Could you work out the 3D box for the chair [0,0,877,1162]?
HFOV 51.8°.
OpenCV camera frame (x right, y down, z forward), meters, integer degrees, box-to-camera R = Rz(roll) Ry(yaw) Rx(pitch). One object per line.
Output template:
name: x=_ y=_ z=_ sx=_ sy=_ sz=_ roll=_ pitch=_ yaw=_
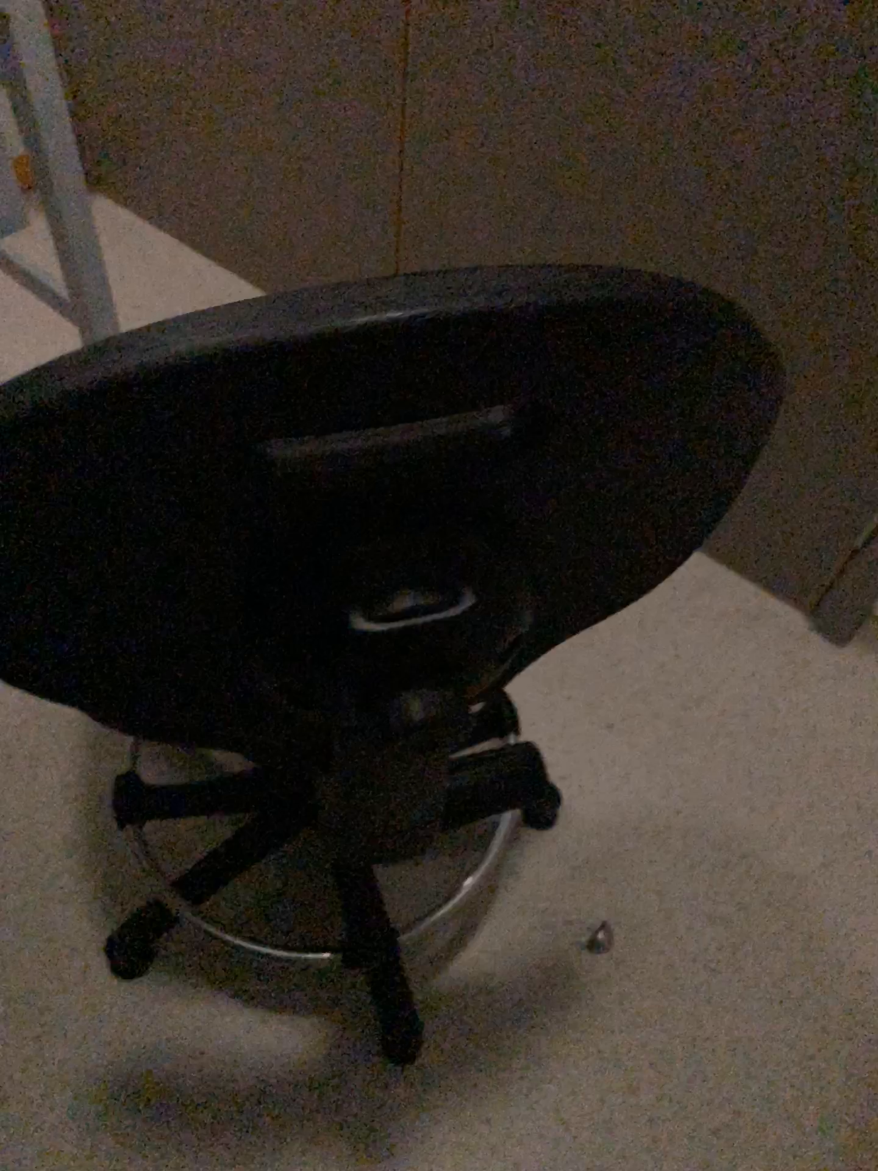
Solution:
chair: x=-0.082 y=-0.045 z=0.756 sx=0.620 sy=0.932 sz=0.675 roll=-10 pitch=55 yaw=-13
